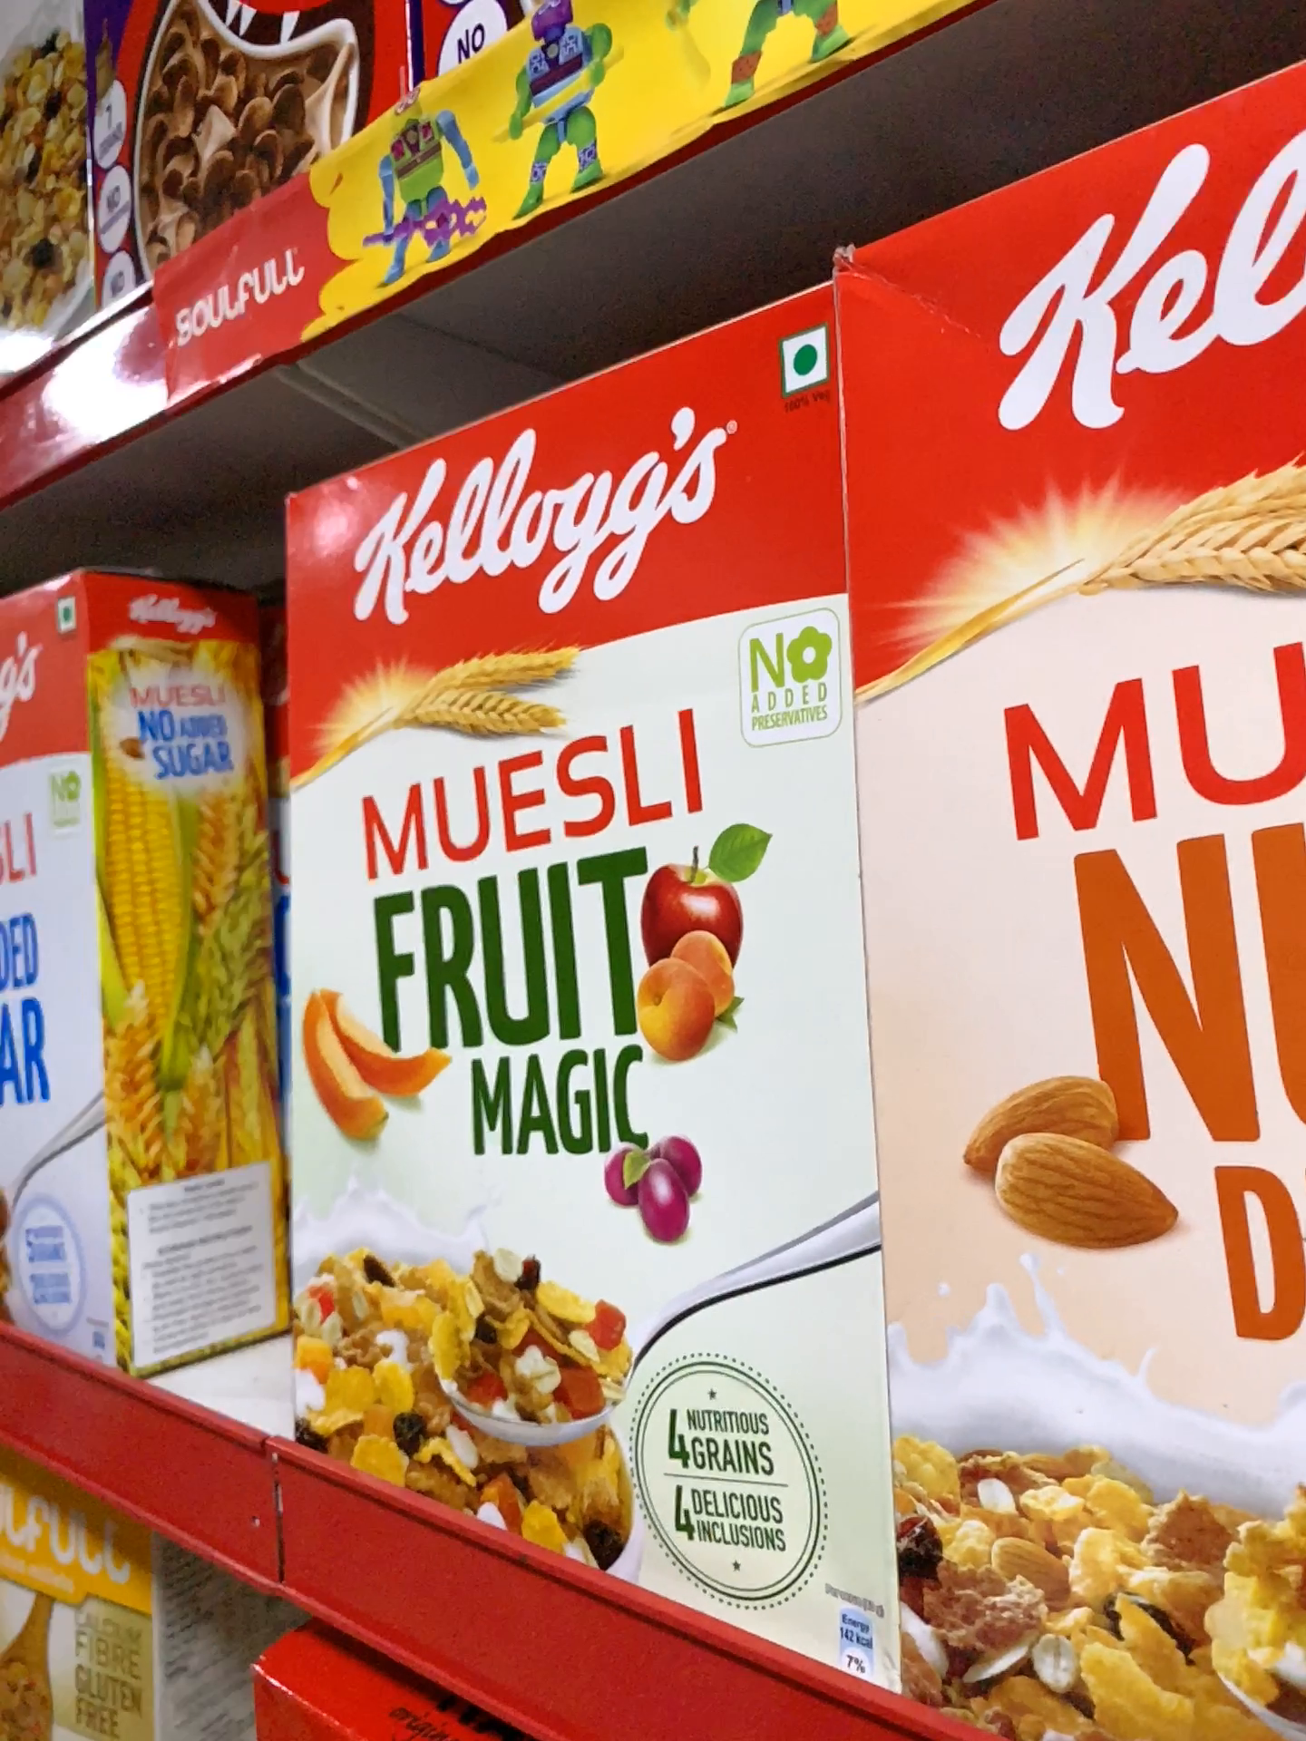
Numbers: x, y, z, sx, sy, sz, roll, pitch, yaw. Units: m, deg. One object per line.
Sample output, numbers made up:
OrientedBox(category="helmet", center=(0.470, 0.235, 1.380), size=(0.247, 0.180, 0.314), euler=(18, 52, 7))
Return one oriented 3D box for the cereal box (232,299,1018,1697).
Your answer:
OrientedBox(category="cereal box", center=(-0.018, 0.023, 0.318), size=(0.180, 0.240, 0.060), euler=(-4, -3, 41))
